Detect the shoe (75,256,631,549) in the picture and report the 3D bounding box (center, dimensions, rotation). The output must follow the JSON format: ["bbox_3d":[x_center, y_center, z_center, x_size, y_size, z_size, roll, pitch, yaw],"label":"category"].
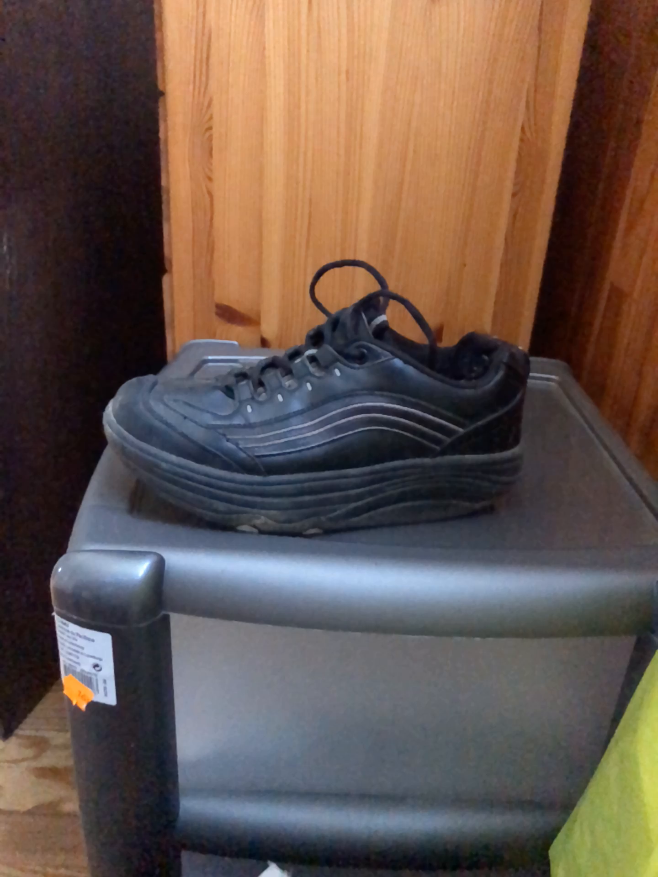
[{"bbox_3d":[0.008,-0.024,0.424,0.270,0.129,0.111,0,26,-9],"label":"shoe"}]
